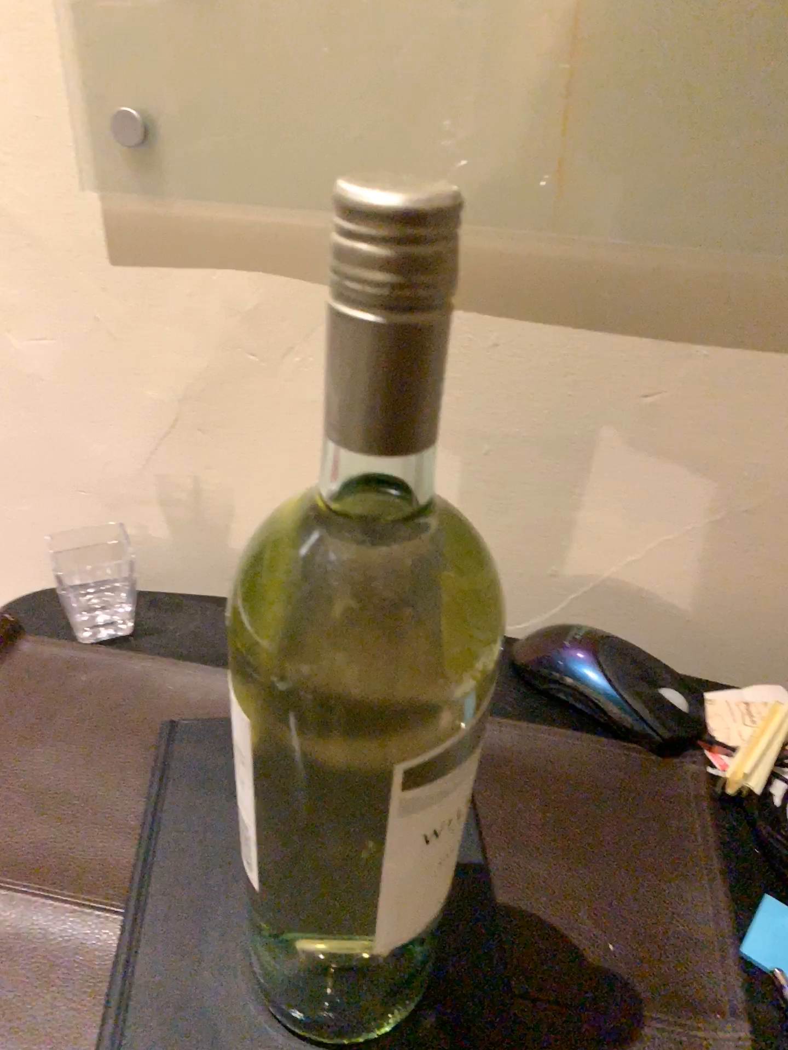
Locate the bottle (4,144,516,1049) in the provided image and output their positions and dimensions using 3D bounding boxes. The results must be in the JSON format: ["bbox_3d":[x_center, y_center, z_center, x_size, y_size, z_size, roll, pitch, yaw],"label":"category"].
[{"bbox_3d":[-0.025,0.052,0.257,0.090,0.298,0.091,2,32,-1],"label":"bottle"}]
